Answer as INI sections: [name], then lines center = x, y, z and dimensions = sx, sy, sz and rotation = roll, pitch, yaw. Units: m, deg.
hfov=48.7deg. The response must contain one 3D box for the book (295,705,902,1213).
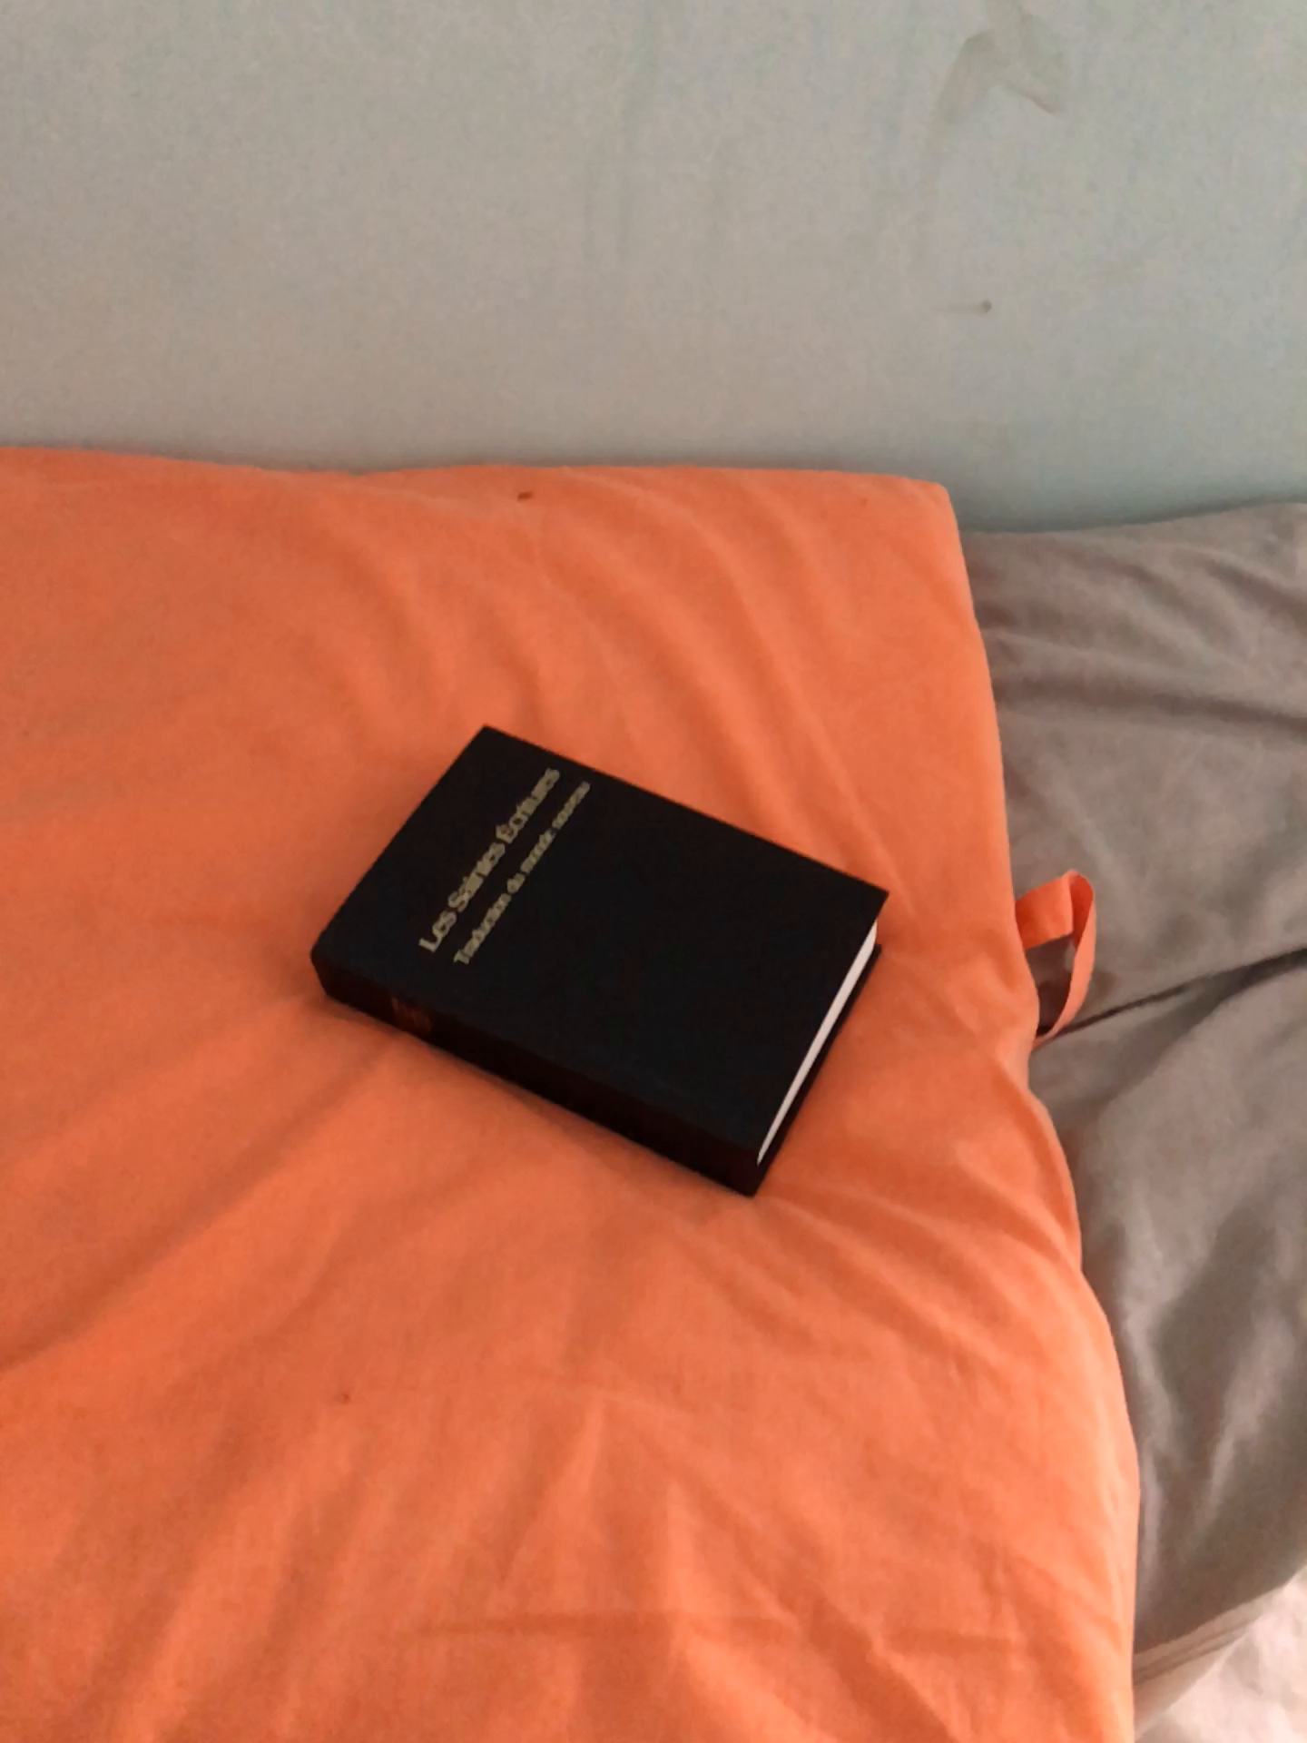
[book]
center = -0.017, 0.024, 0.520
dimensions = 0.174, 0.030, 0.127
rotation = 25, 57, 14
